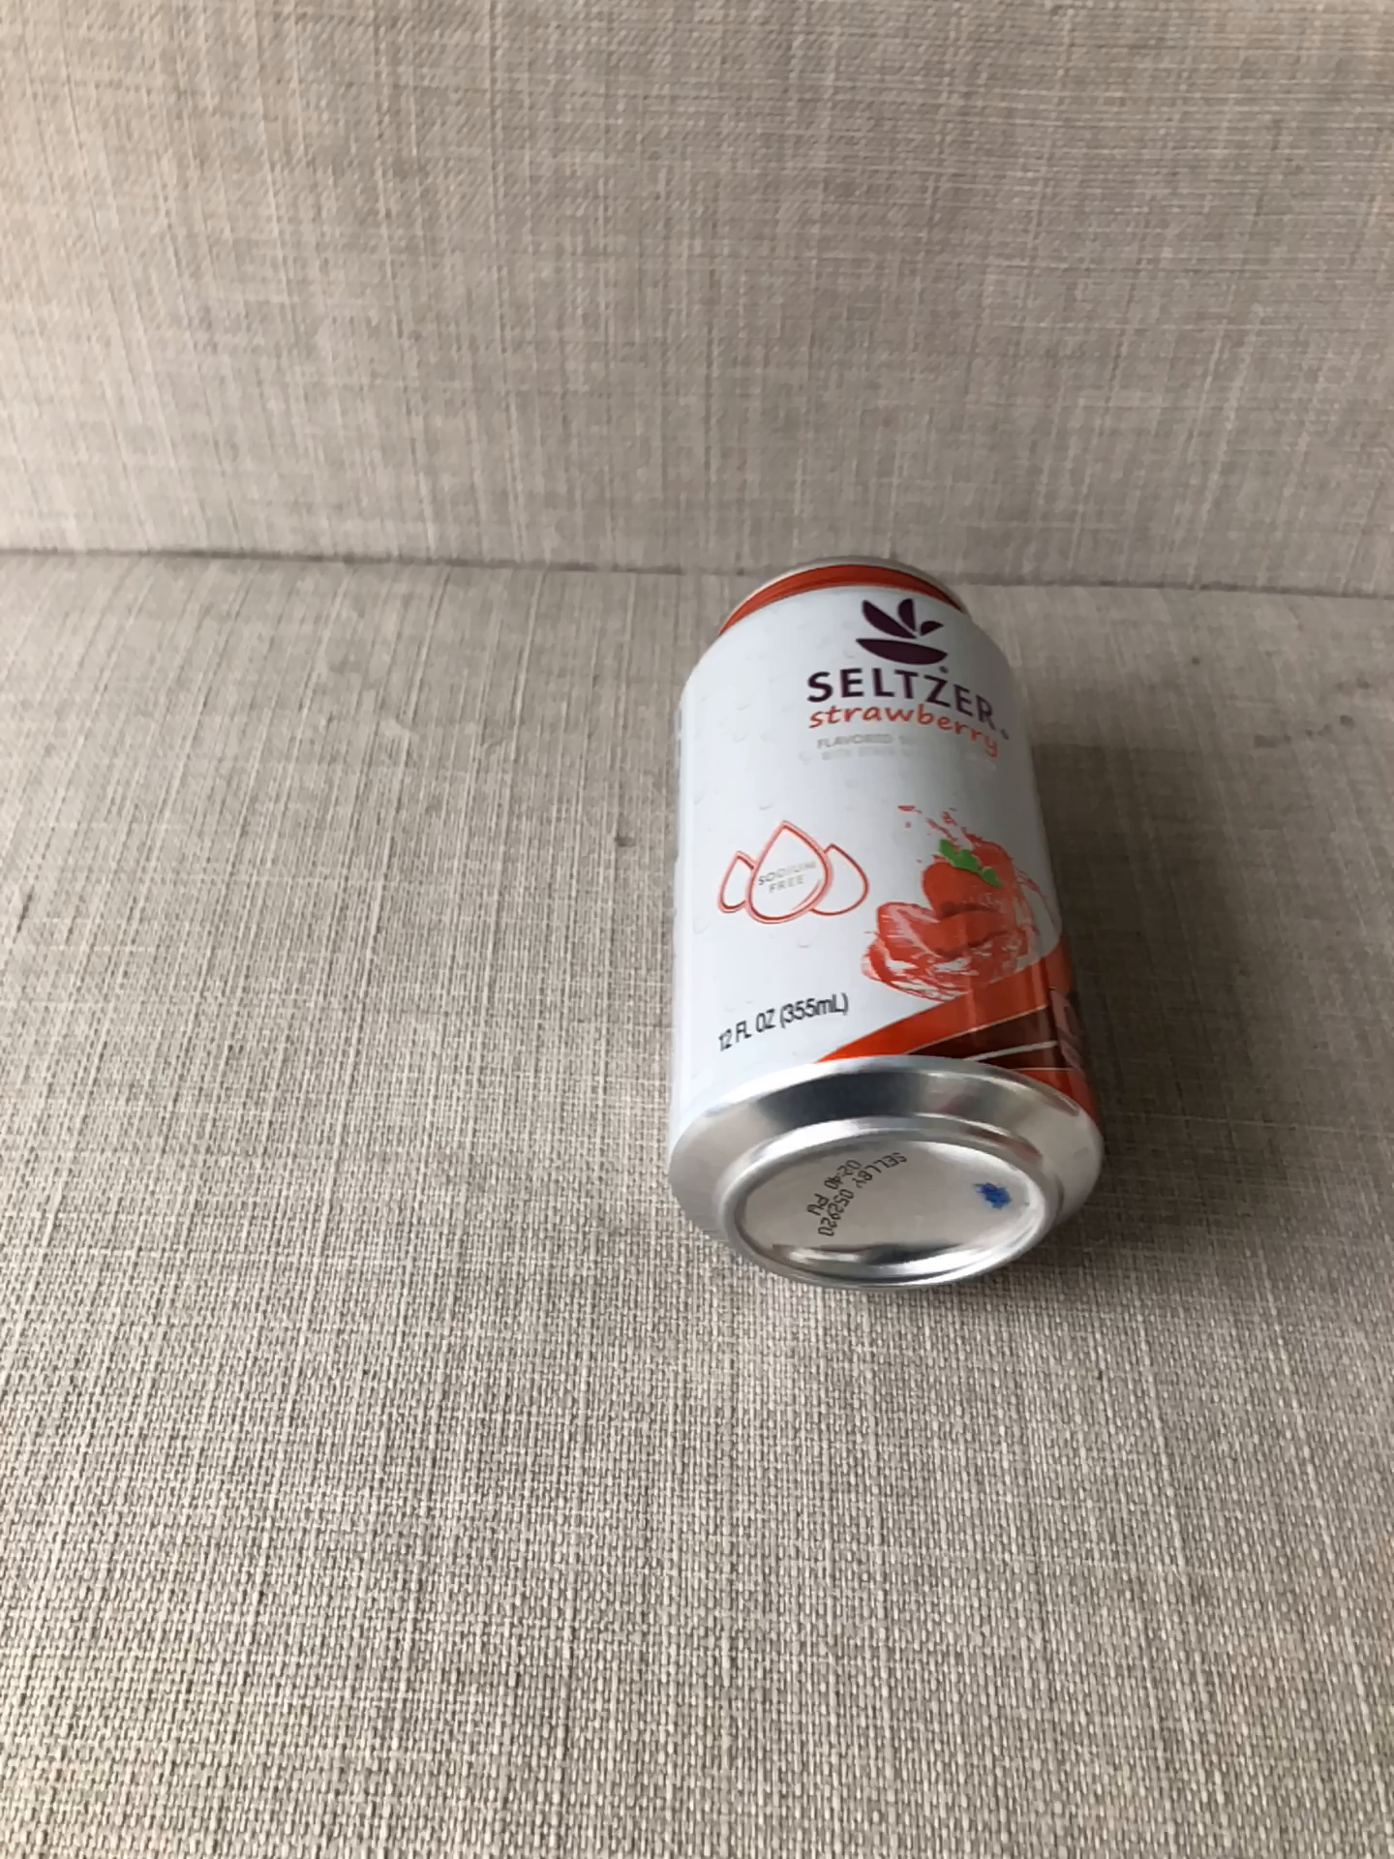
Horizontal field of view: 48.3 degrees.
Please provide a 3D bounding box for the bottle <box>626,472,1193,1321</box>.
[{"bbox_3d":[0.026,-0.007,0.257,0.070,0.069,0.121,2,53,-2],"label":"bottle"}]
